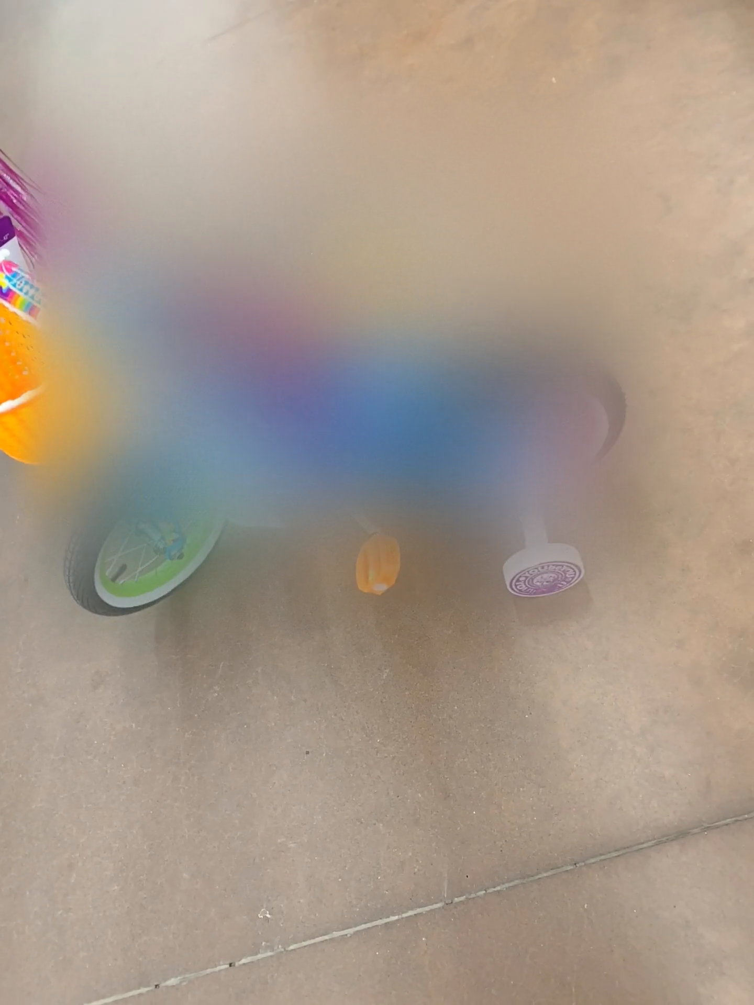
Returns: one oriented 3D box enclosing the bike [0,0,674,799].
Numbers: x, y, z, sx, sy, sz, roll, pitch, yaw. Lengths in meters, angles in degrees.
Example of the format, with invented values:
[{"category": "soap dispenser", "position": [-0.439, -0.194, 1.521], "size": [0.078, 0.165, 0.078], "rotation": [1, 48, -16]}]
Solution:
[{"category": "bike", "position": [-0.120, -0.091, 0.962], "size": [0.833, 0.667, 0.522], "rotation": [-19, 53, 12]}]
